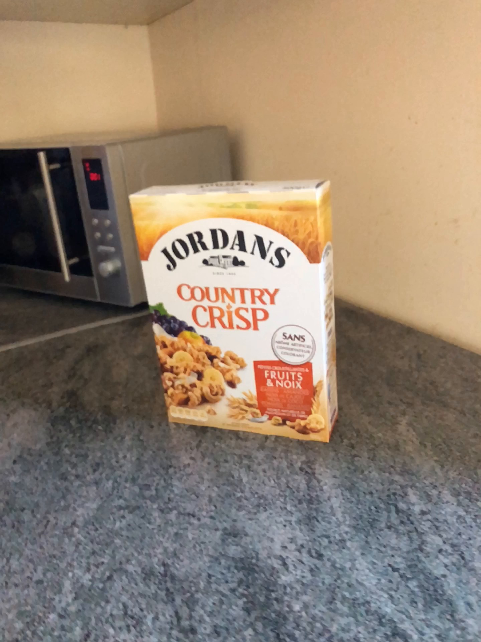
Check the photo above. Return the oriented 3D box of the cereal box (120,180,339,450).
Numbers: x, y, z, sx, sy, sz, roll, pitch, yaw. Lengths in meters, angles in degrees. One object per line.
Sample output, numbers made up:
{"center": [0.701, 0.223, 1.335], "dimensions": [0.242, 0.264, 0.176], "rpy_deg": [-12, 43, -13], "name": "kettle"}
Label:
{"center": [-0.002, -0.006, 0.531], "dimensions": [0.190, 0.249, 0.060], "rpy_deg": [4, 24, 19], "name": "cereal box"}
